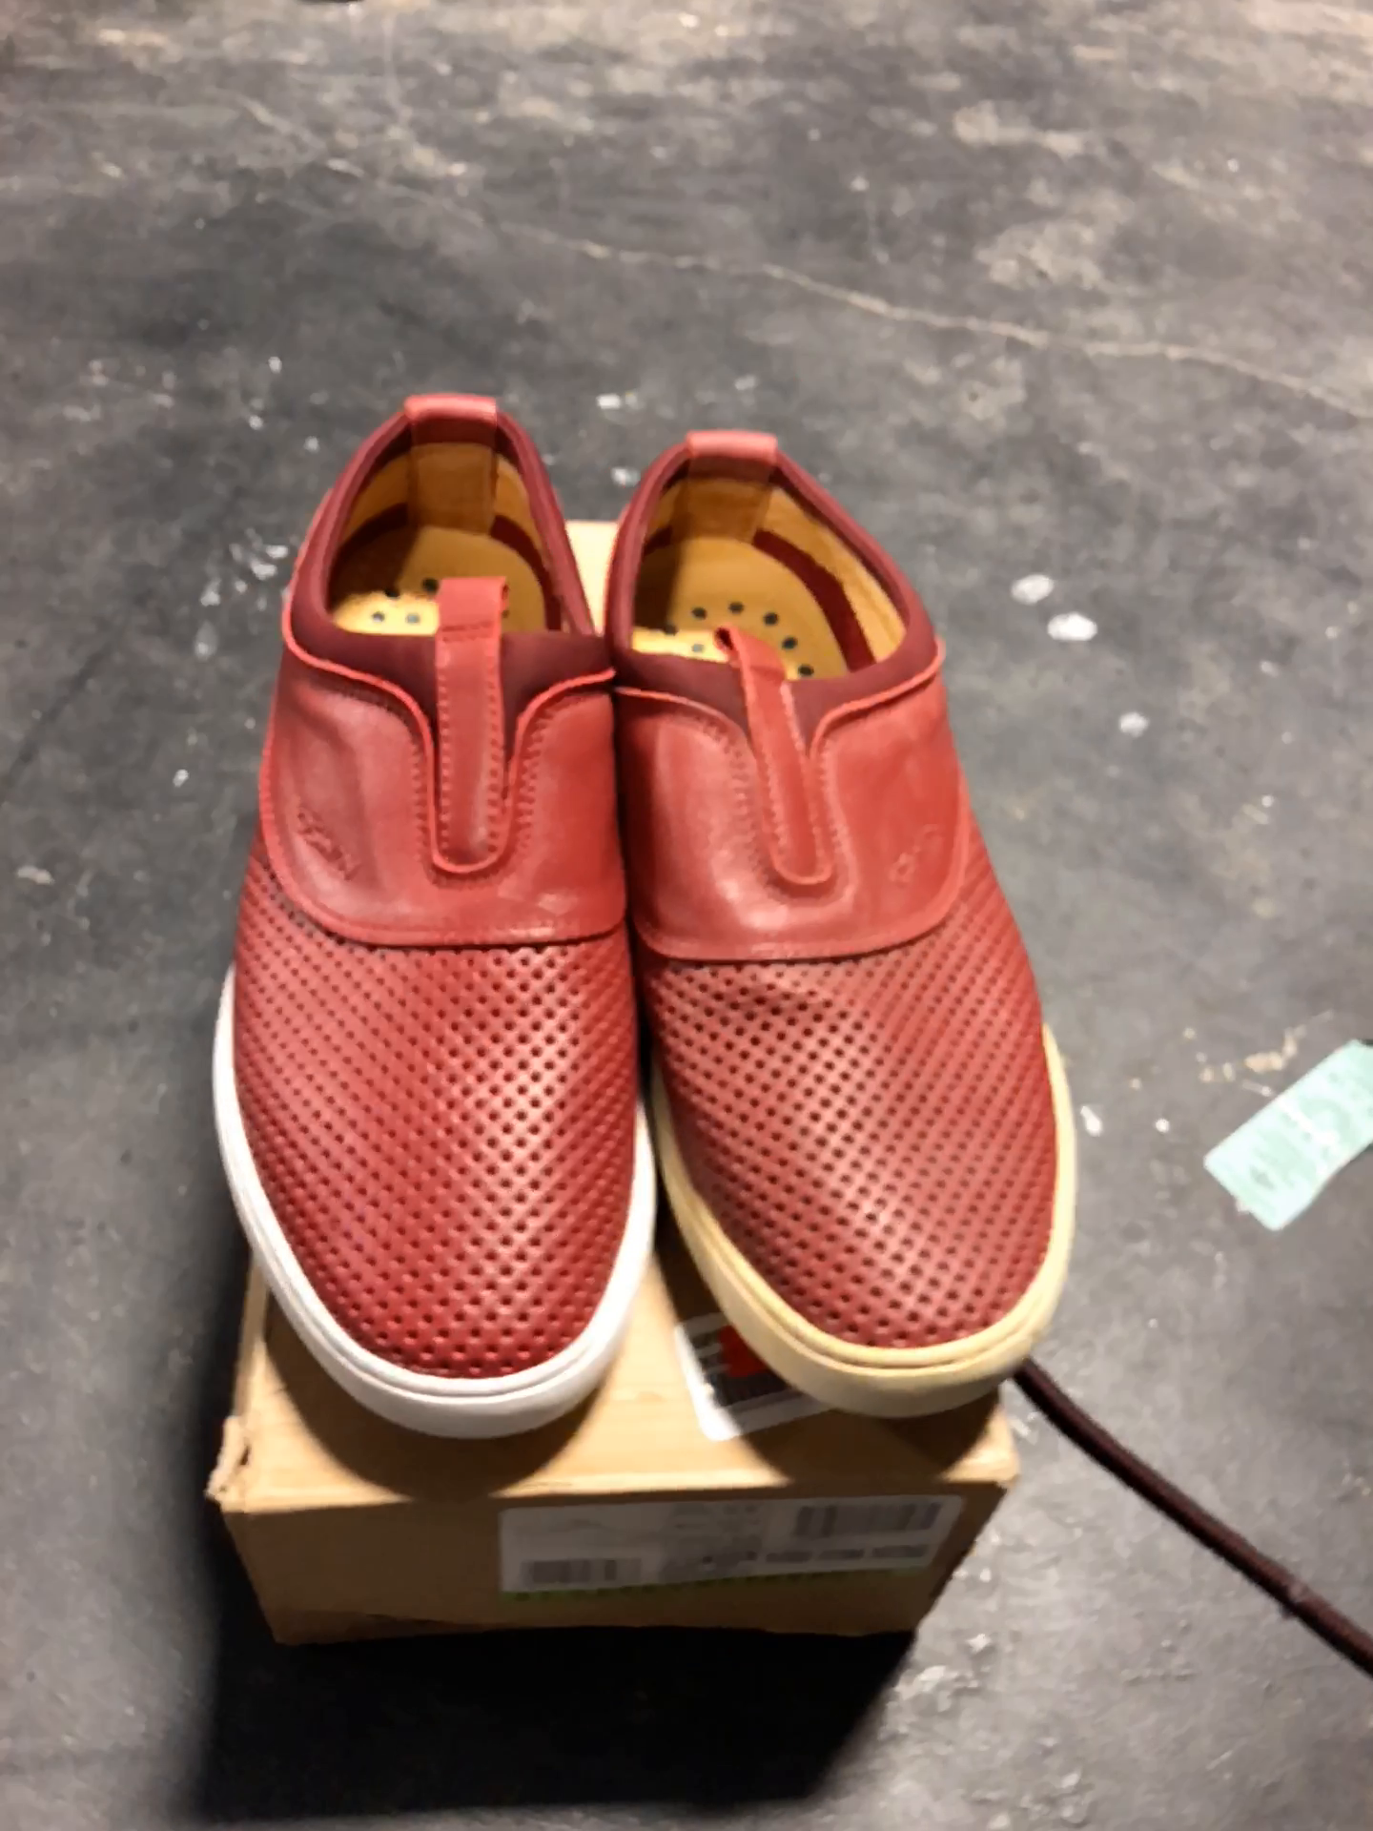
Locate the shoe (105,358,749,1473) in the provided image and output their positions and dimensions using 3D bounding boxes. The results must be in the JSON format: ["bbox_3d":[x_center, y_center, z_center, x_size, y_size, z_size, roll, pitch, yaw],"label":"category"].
[{"bbox_3d":[-0.059,-0.017,0.354,0.100,0.089,0.252,-1,51,-9],"label":"shoe"}]

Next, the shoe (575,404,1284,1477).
[{"bbox_3d":[0.034,-0.011,0.370,0.100,0.089,0.252,-1,51,-9],"label":"shoe"}]
